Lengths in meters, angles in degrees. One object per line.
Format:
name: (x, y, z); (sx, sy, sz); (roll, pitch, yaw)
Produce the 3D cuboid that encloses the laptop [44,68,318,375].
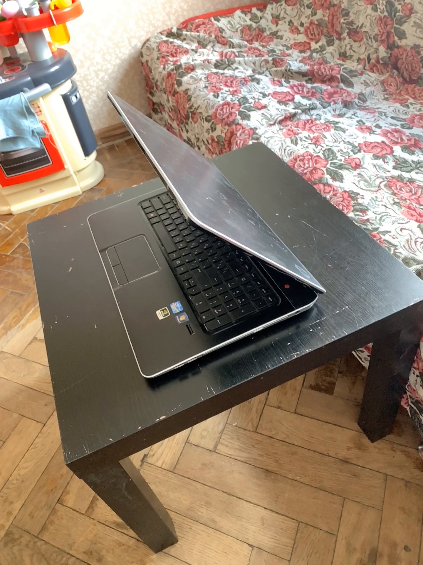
laptop: (-0.065, -0.123, 0.657); (0.256, 0.201, 0.407); (-22, 46, -9)
